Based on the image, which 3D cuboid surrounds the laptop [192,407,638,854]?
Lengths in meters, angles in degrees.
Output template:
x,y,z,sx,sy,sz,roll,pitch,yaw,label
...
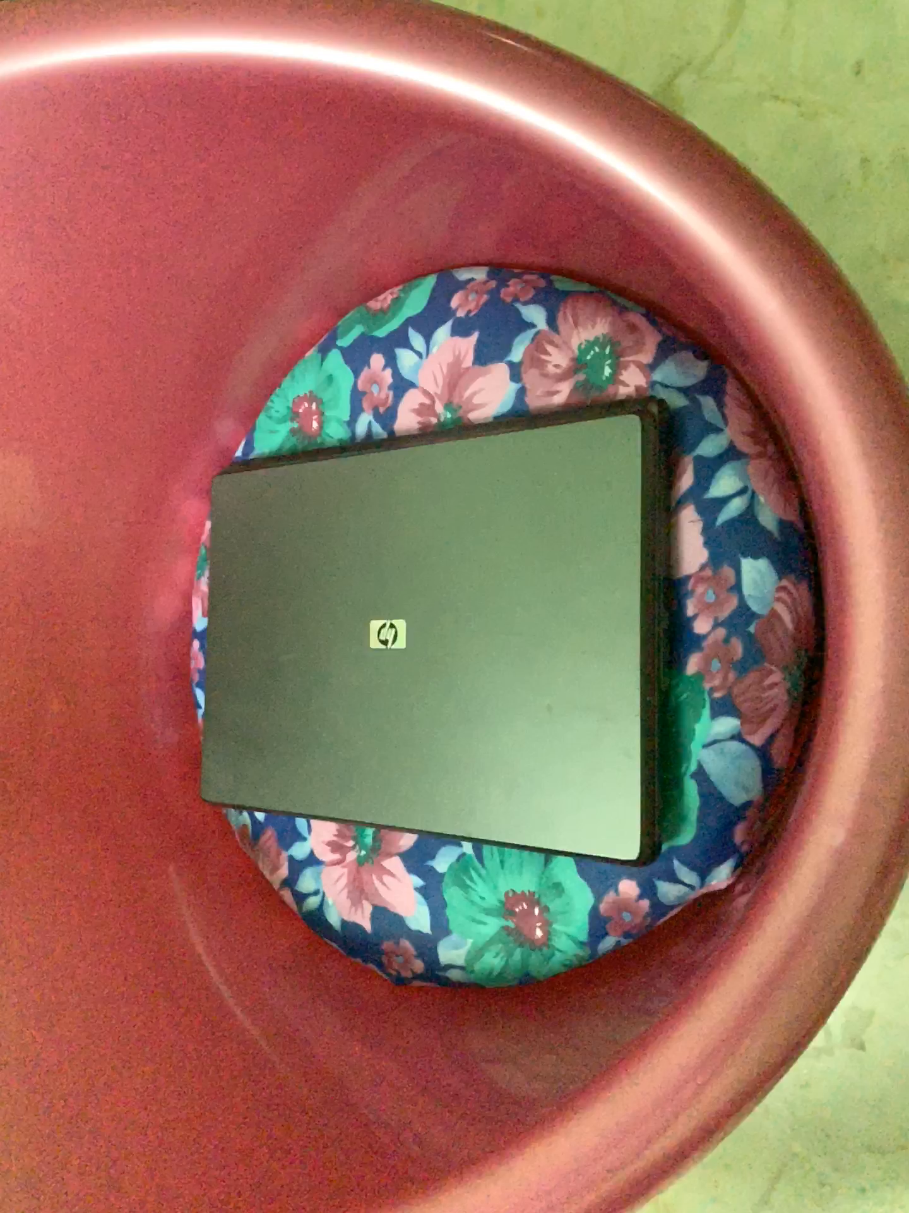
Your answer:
x,y,z,sx,sy,sz,roll,pitch,yaw,label
-0.040,0.013,0.539,0.305,0.003,0.222,-1,87,31,laptop
